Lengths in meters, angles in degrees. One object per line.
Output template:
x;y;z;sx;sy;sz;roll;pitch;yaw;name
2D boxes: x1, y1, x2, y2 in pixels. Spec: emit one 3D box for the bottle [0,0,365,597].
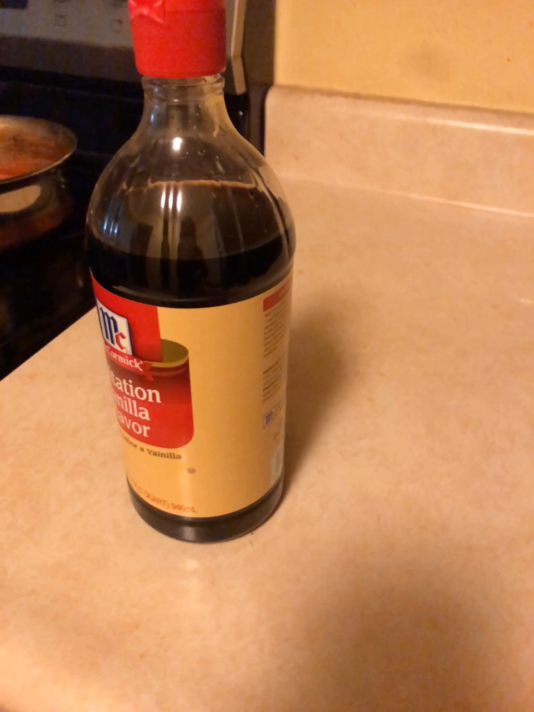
-0.032;-0.020;0.258;0.080;0.239;0.090;-29;46;-35;bottle
